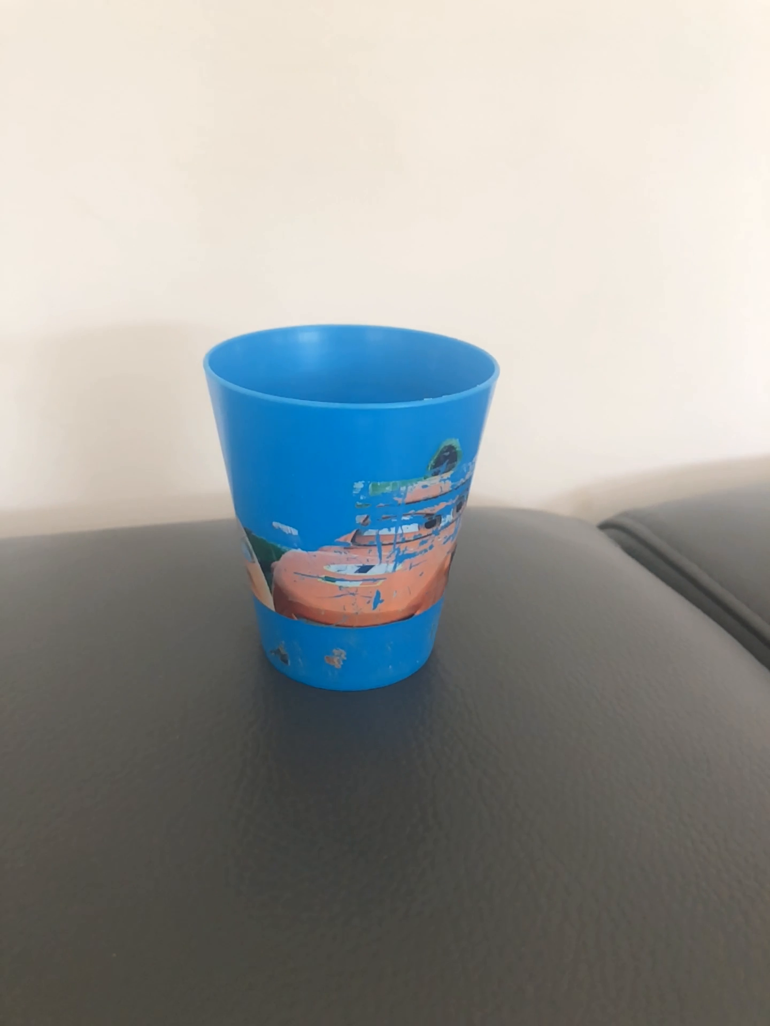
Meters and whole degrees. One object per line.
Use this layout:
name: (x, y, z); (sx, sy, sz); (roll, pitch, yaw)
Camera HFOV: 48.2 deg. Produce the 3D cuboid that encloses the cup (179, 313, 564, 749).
cup: (-0.011, -0.002, 0.245); (0.080, 0.089, 0.080); (3, 26, -2)
